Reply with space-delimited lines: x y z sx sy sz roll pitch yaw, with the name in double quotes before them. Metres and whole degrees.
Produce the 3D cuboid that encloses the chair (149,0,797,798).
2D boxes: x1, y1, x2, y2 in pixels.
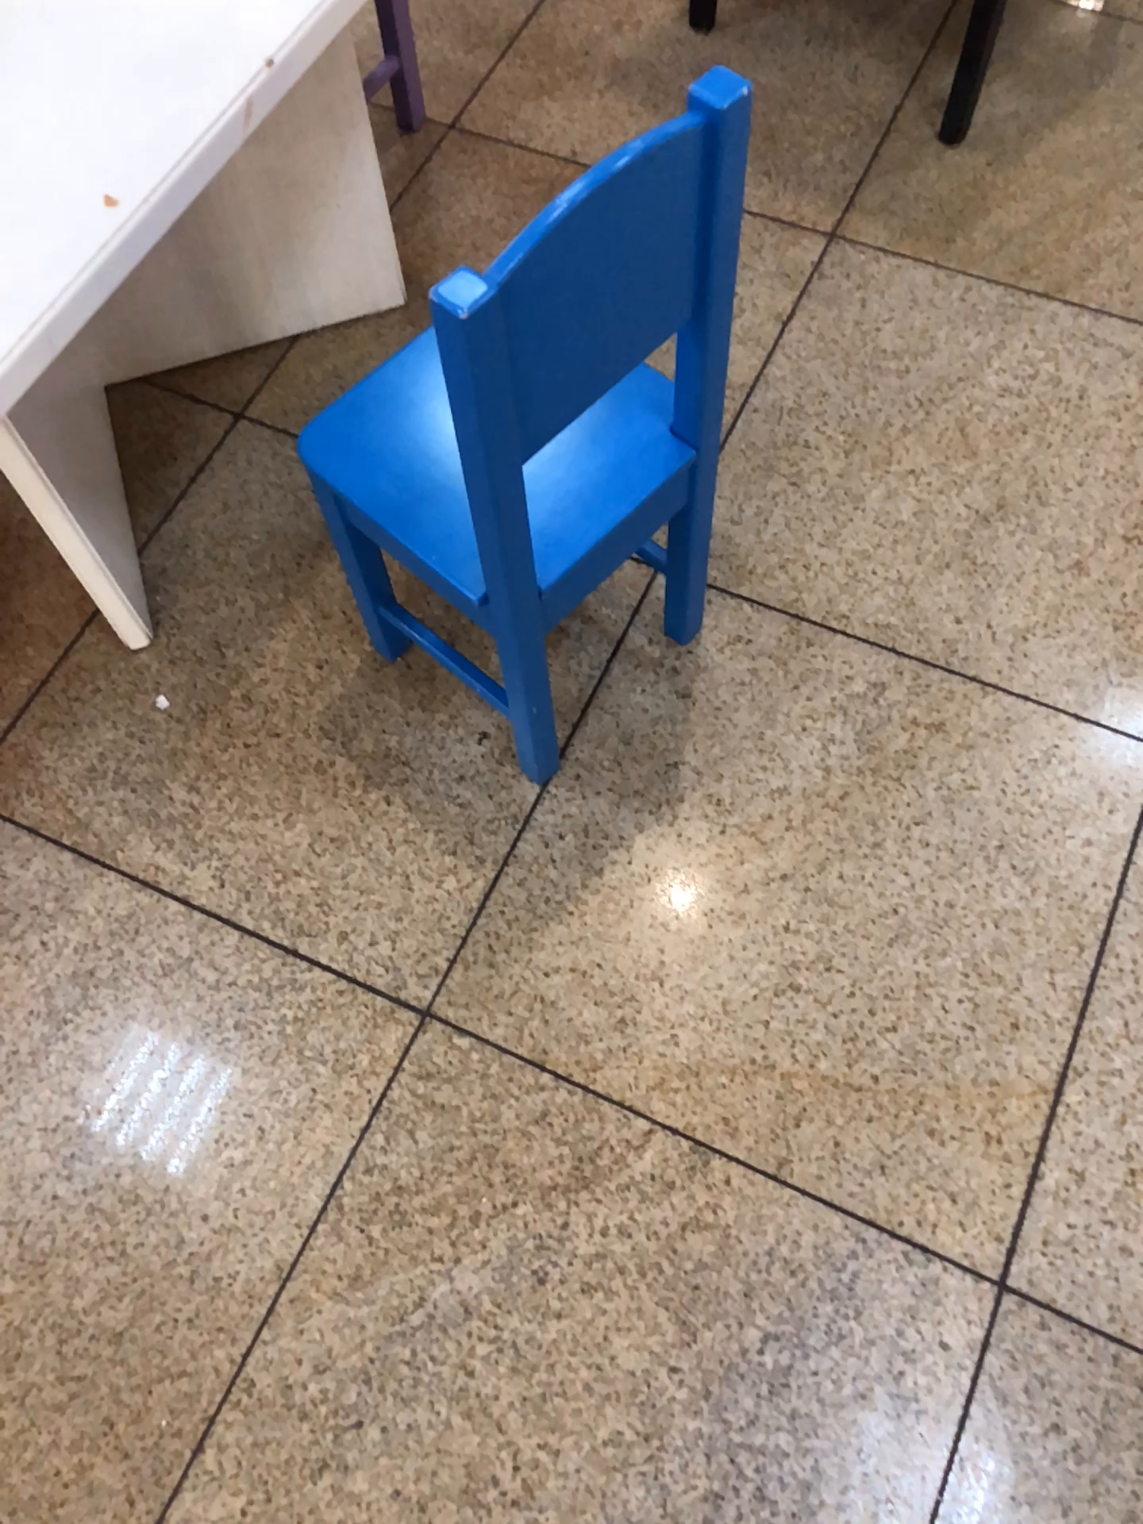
"chair" -0.053 -0.294 1.102 0.300 0.639 0.300 39 71 19
